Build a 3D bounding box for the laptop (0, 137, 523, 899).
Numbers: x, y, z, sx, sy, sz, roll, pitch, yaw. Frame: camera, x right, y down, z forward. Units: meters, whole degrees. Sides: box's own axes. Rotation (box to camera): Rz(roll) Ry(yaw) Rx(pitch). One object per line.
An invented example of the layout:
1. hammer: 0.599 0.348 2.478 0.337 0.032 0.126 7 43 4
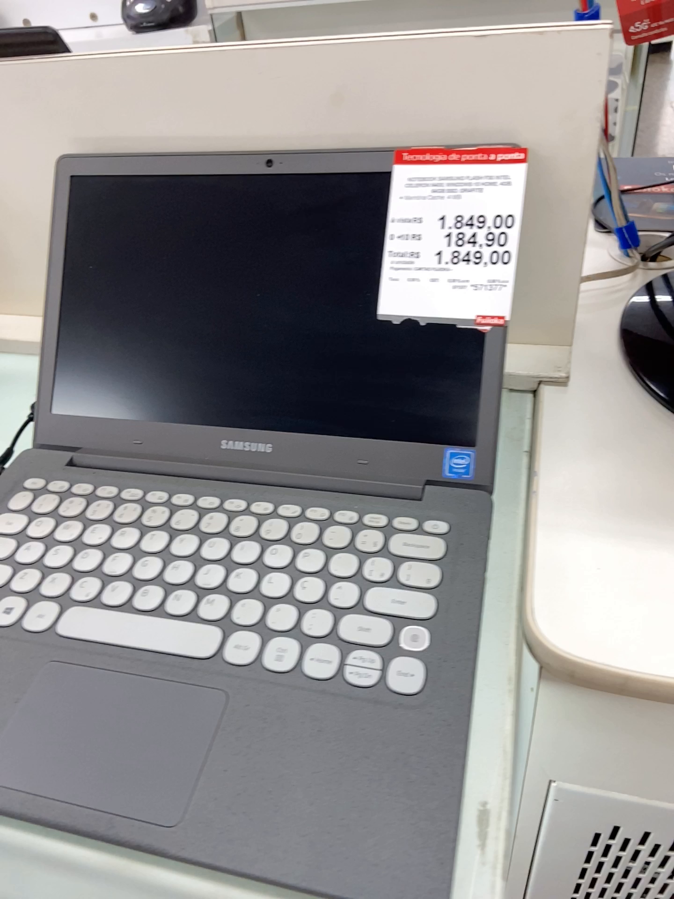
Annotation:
1. laptop: -0.080 -0.019 0.374 0.319 0.144 0.366 5 44 15
